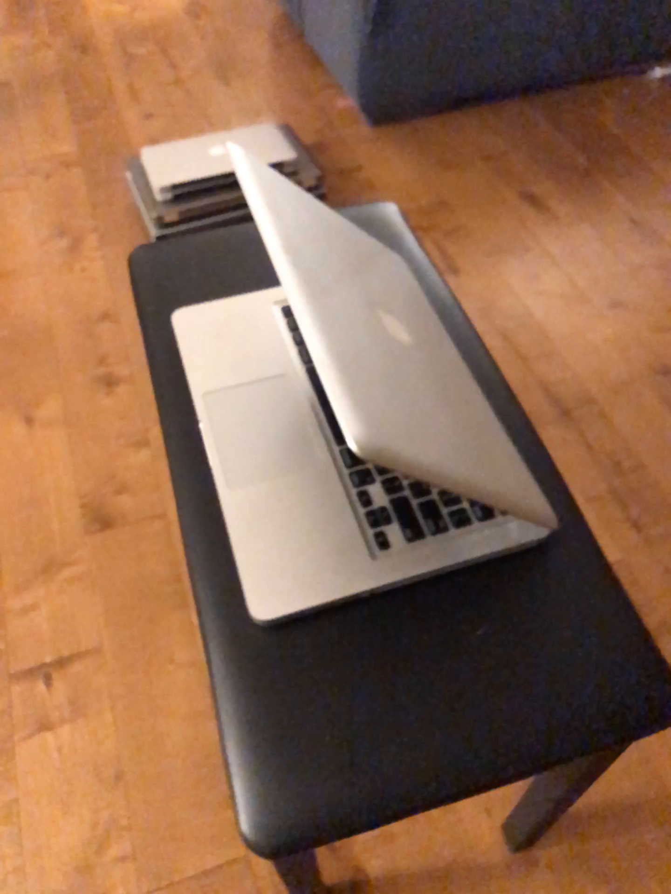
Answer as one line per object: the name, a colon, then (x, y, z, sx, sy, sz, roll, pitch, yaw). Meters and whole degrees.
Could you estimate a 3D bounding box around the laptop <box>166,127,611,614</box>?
laptop: (0.011, -0.076, 0.541, 0.208, 0.144, 0.311, -13, 50, -9)
